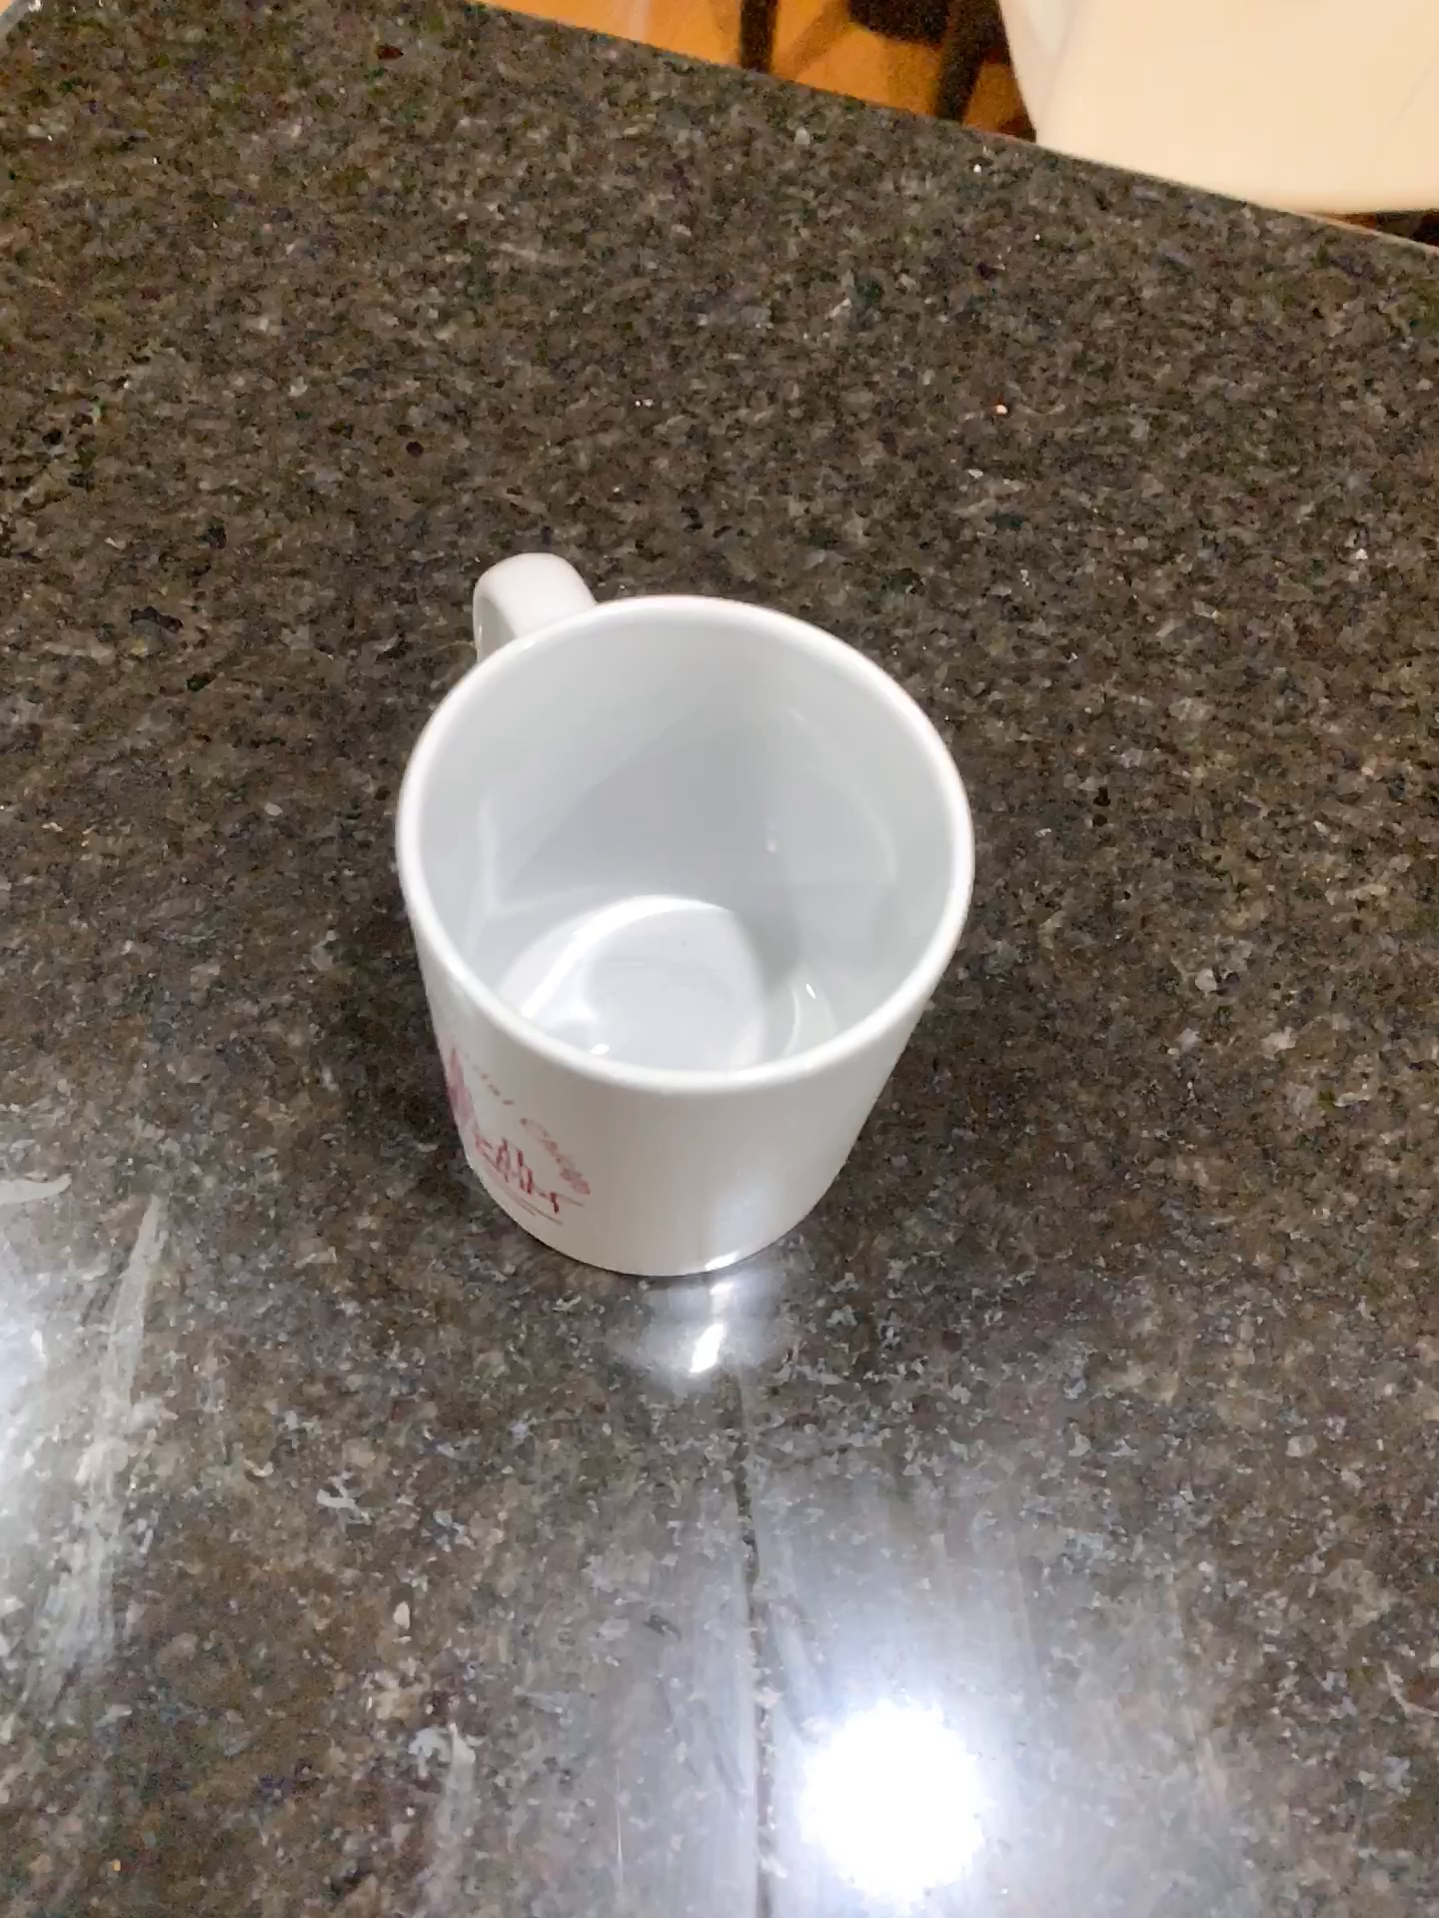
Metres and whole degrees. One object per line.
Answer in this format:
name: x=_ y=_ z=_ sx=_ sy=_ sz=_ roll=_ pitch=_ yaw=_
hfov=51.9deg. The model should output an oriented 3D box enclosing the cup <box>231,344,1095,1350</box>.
cup: x=-0.016 y=-0.017 z=0.258 sx=0.081 sy=0.098 sz=0.124 roll=-22 pitch=66 yaw=-16
